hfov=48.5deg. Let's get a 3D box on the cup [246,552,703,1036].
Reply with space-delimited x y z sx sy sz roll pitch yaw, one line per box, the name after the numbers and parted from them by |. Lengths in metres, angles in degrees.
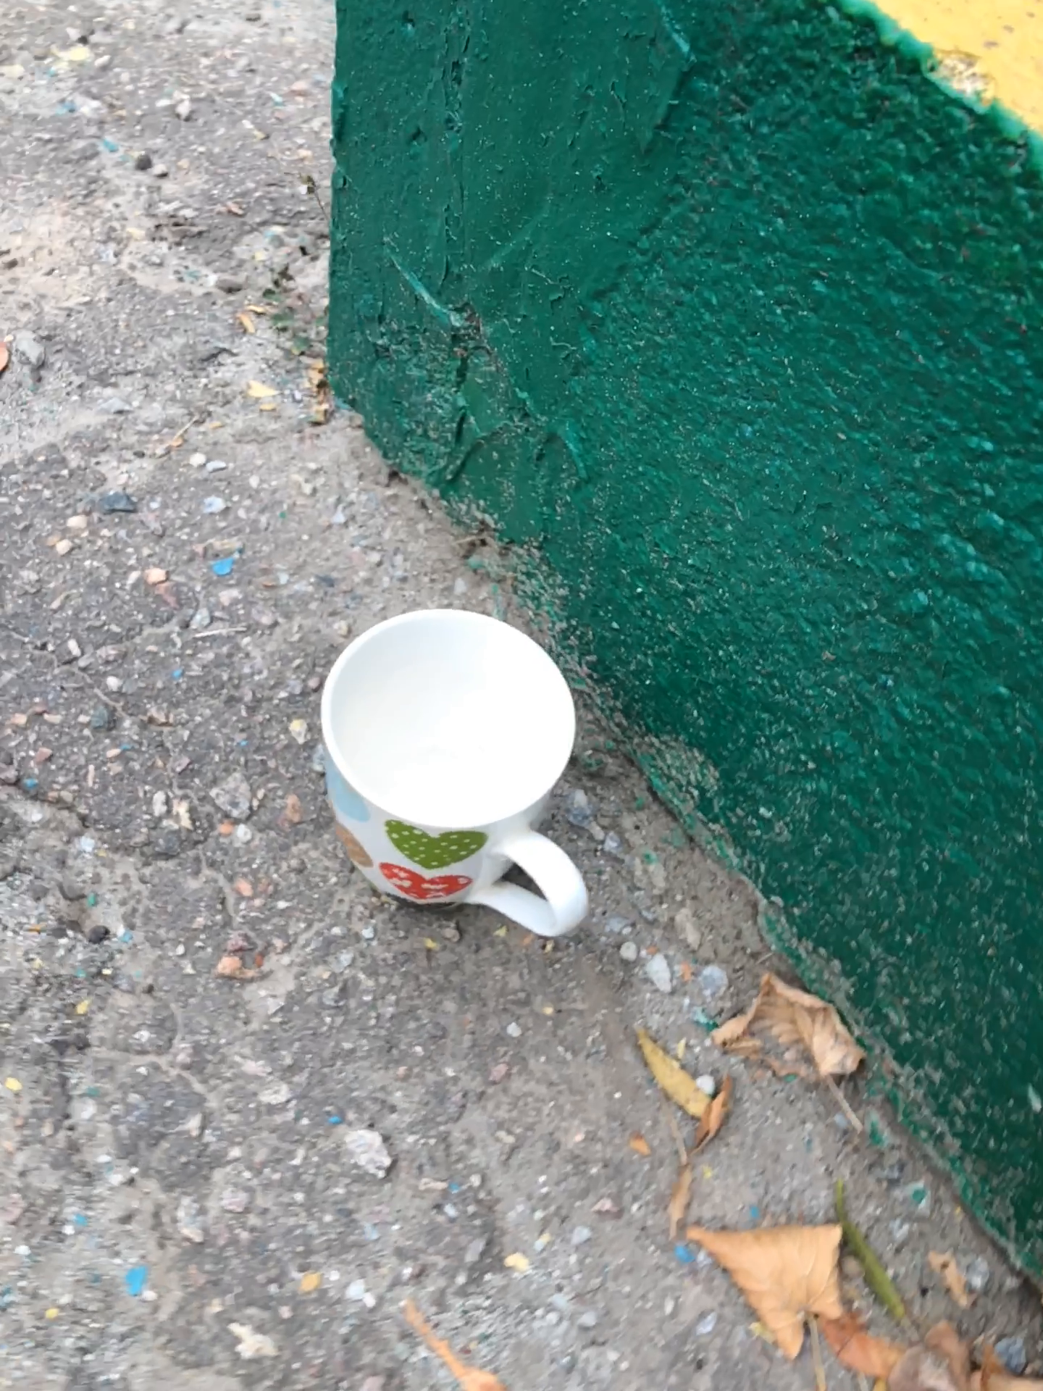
-0.020 0.033 0.386 0.116 0.079 0.082 41 60 13 | cup
